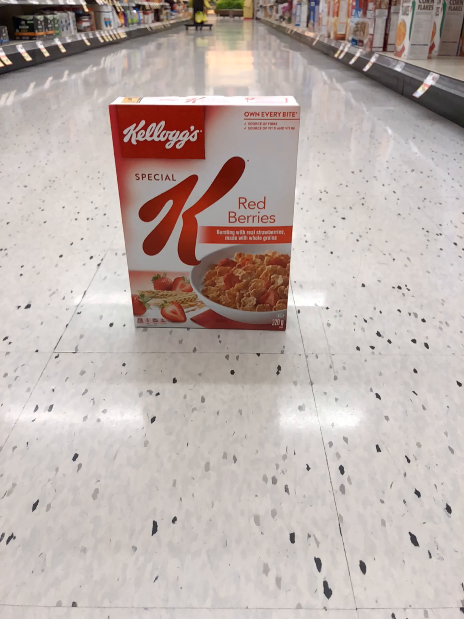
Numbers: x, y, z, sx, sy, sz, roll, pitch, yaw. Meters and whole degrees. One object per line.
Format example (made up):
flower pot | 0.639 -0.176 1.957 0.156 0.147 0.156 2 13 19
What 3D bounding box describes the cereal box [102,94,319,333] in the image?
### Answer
cereal box | -0.021 -0.102 0.585 0.210 0.258 0.060 1 30 2
